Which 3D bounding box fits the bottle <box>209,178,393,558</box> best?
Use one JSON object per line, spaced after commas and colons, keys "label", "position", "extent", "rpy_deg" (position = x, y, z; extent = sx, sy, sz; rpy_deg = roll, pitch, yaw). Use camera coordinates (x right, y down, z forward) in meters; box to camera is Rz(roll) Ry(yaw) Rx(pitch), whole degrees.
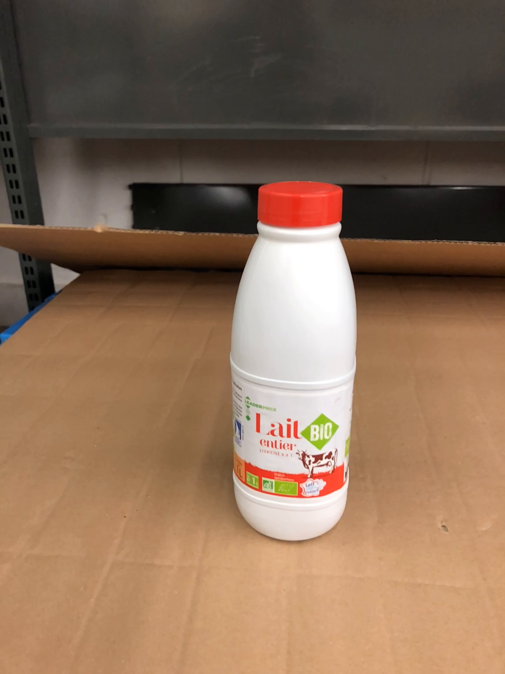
{"label": "bottle", "position": [0.027, 0.023, 0.358], "extent": [0.090, 0.229, 0.080], "rpy_deg": [2, 25, 4]}
